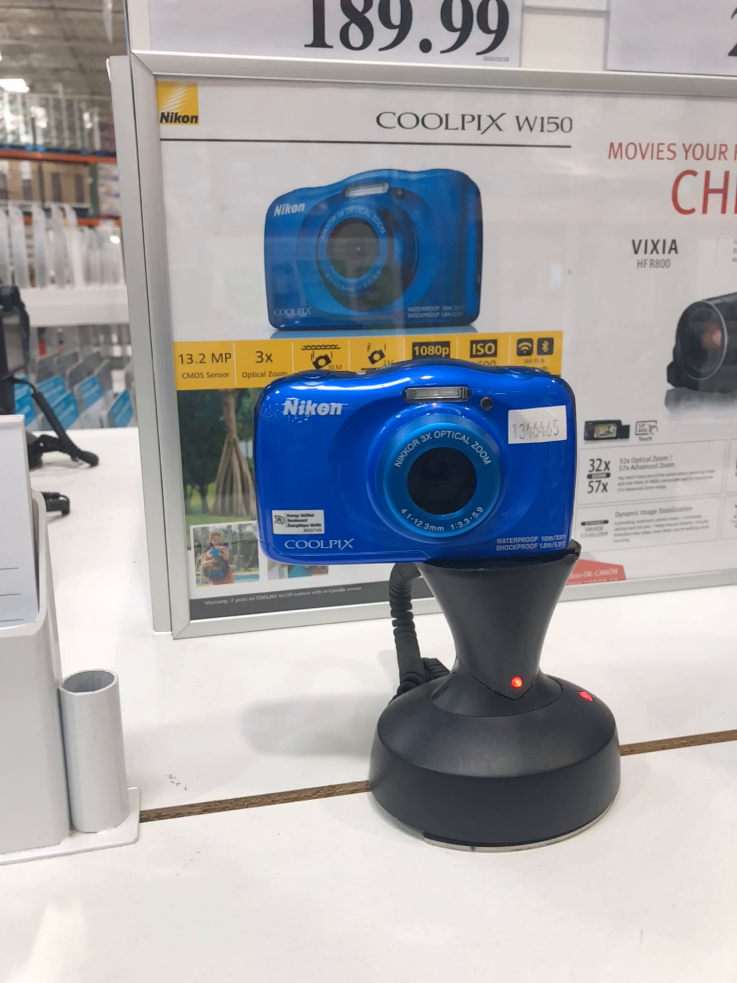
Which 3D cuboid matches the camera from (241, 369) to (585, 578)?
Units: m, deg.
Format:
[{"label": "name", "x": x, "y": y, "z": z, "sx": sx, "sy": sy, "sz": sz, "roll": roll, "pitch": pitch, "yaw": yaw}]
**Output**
[{"label": "camera", "x": 0.013, "y": -0.009, "z": 0.284, "sx": 0.110, "sy": 0.060, "sz": 0.040, "roll": -3, "pitch": 14, "yaw": -8}]
